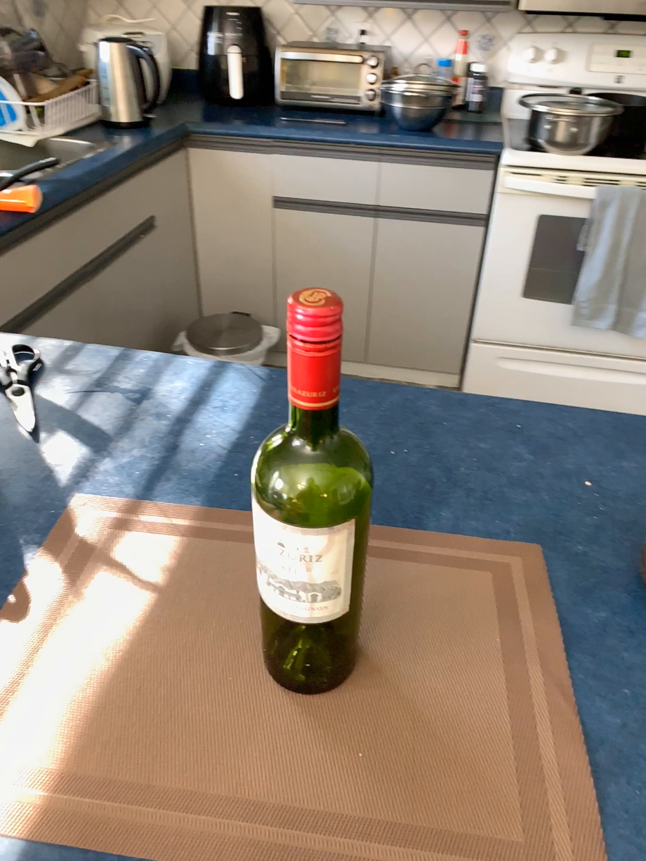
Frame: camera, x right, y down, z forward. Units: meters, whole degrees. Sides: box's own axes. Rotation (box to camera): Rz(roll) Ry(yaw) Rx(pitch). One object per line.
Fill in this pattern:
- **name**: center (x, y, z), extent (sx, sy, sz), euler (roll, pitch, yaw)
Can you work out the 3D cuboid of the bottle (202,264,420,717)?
- **bottle**: center (-0.009, 0.049, 0.420), extent (0.080, 0.277, 0.080), euler (1, 34, -1)
